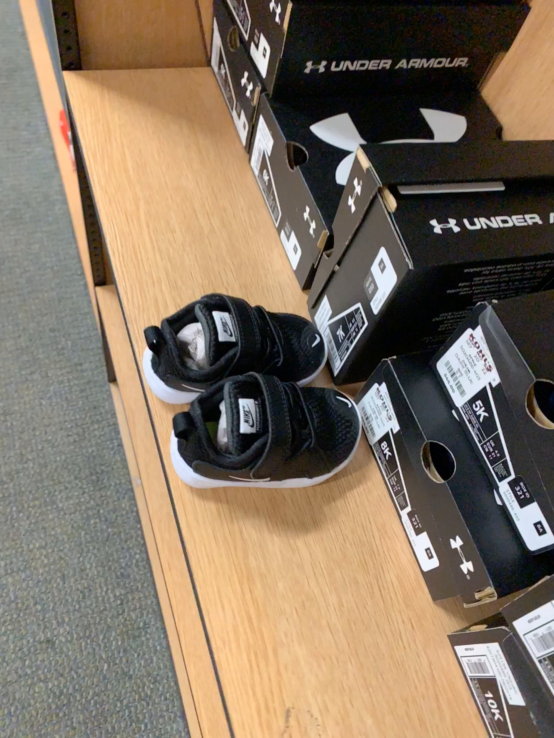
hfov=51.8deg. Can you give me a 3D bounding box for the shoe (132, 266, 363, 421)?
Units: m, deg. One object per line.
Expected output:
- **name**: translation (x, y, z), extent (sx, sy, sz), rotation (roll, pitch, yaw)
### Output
- **shoe**: translation (-0.024, -0.019, 0.400), extent (0.140, 0.060, 0.070), rotation (-9, 65, -17)

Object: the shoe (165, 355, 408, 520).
- **shoe**: translation (0.002, 0.045, 0.382), extent (0.140, 0.060, 0.070), rotation (-9, 65, -17)
